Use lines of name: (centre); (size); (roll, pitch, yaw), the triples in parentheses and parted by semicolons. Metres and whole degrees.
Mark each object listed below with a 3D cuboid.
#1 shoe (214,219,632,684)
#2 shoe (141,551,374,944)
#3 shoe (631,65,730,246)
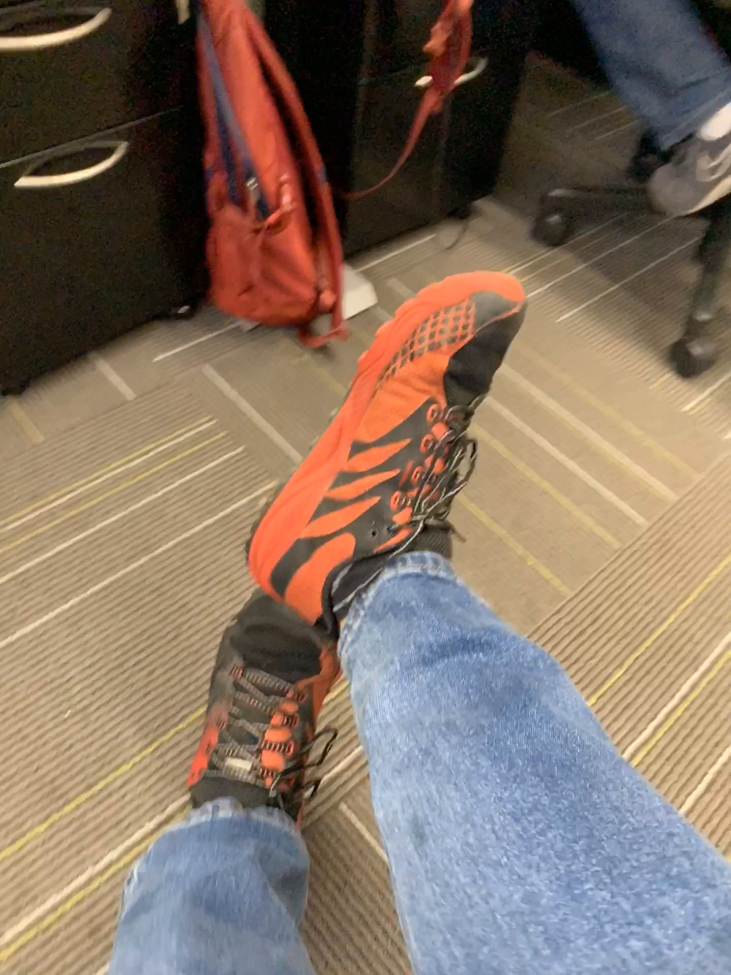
shoe: (0.036, -0.021, 0.575); (0.143, 0.303, 0.118); (42, 24, 17)
shoe: (-0.090, 0.221, 0.687); (0.129, 0.135, 0.289); (13, 92, 2)
shoe: (0.761, -0.681, 1.582); (0.155, 0.355, 0.164); (-34, 95, -13)
